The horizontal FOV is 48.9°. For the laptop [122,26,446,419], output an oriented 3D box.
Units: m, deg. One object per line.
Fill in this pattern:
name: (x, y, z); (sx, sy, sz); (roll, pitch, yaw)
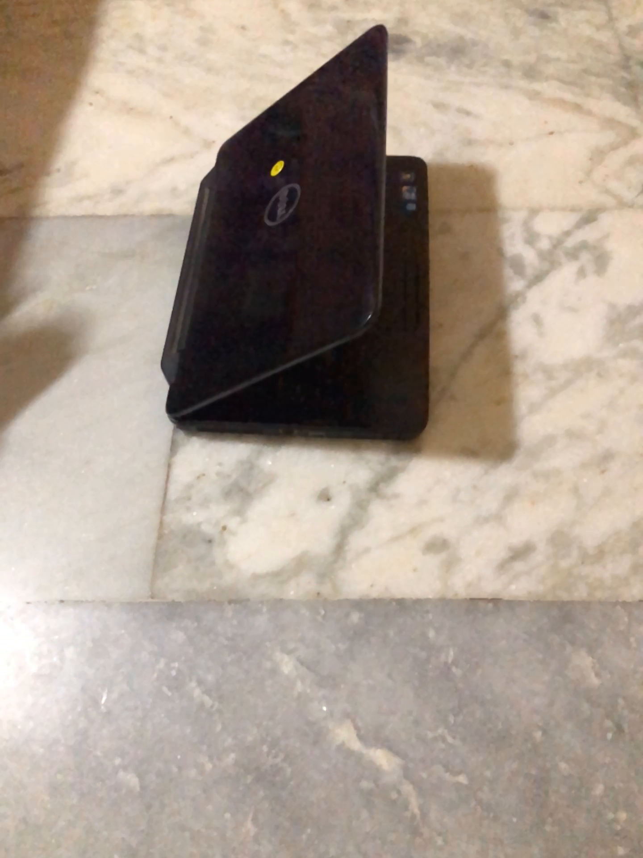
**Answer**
laptop: (-0.018, -0.198, 0.668); (0.234, 0.161, 0.352); (0, 58, 5)
